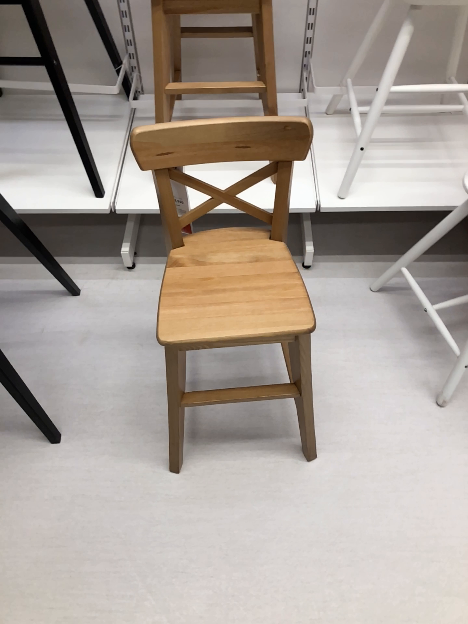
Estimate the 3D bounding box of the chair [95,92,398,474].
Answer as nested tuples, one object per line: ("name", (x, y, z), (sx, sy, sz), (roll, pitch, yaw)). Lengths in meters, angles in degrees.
("chair", (0.011, -0.009, 1.060), (0.390, 0.676, 0.432), (-3, 53, -1))
